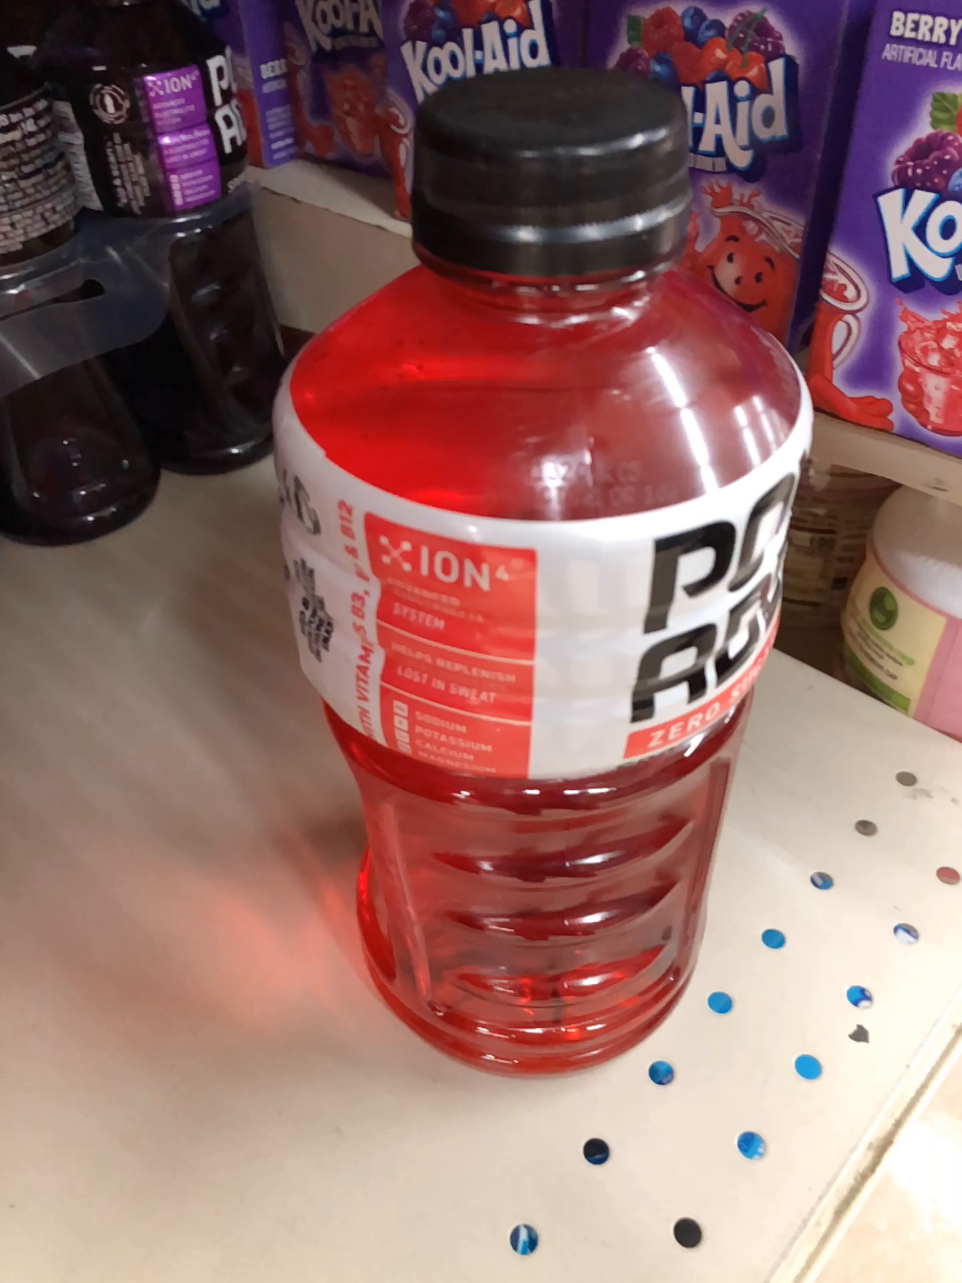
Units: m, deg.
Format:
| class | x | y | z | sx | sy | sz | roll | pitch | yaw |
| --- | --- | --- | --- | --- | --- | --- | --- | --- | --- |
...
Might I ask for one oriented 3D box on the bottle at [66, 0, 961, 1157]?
| class | x | y | z | sx | sy | sz | roll | pitch | yaw |
| --- | --- | --- | --- | --- | --- | --- | --- | --- | --- |
| bottle | 0.013 | -0.007 | 0.210 | 0.095 | 0.190 | 0.095 | 0 | 42 | 0 |
